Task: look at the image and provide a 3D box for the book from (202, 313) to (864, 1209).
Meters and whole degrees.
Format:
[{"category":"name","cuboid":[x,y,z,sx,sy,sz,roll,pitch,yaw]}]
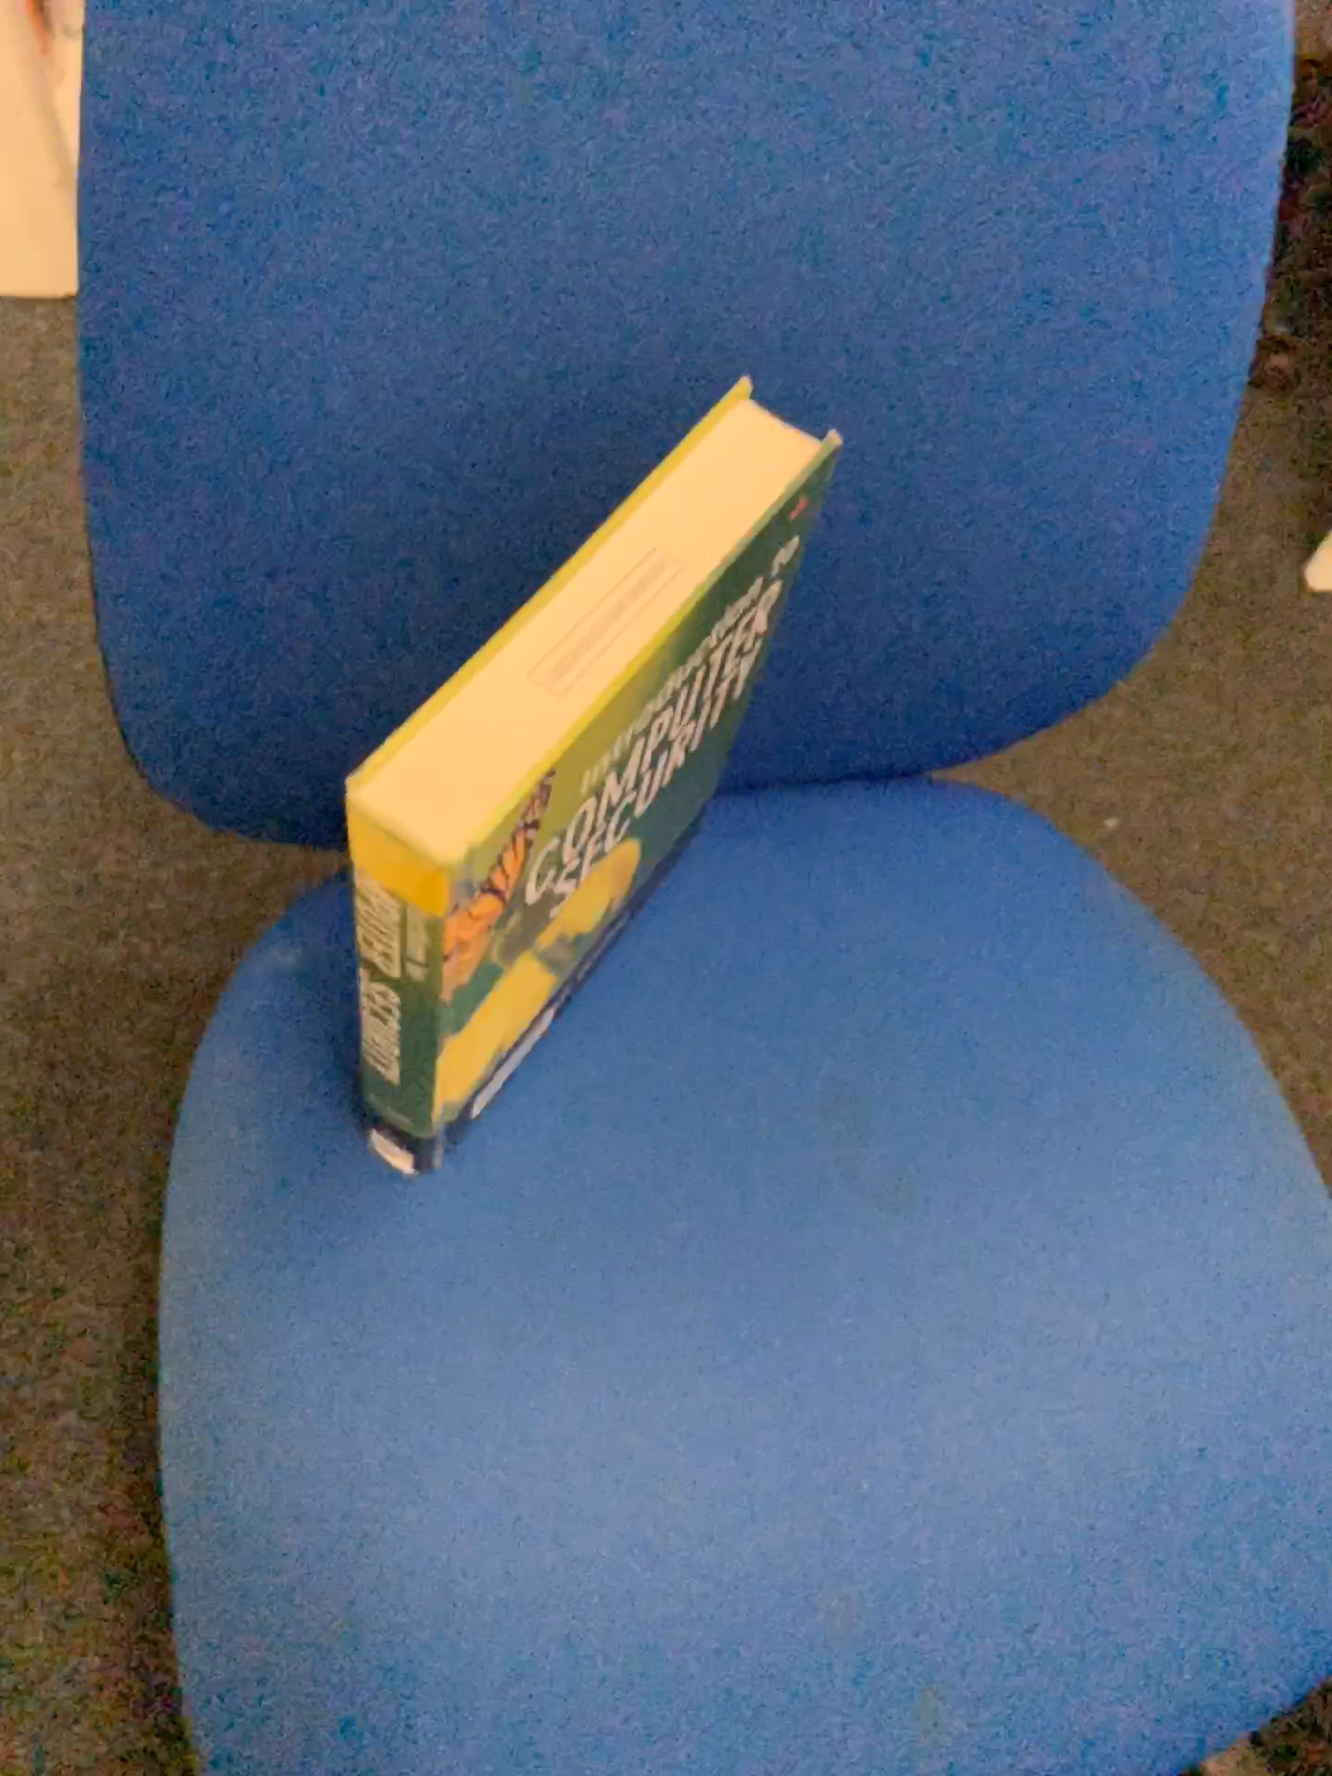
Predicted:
[{"category":"book","cuboid":[-0.045,-0.019,0.474,0.050,0.278,0.211,35,64,7]}]
